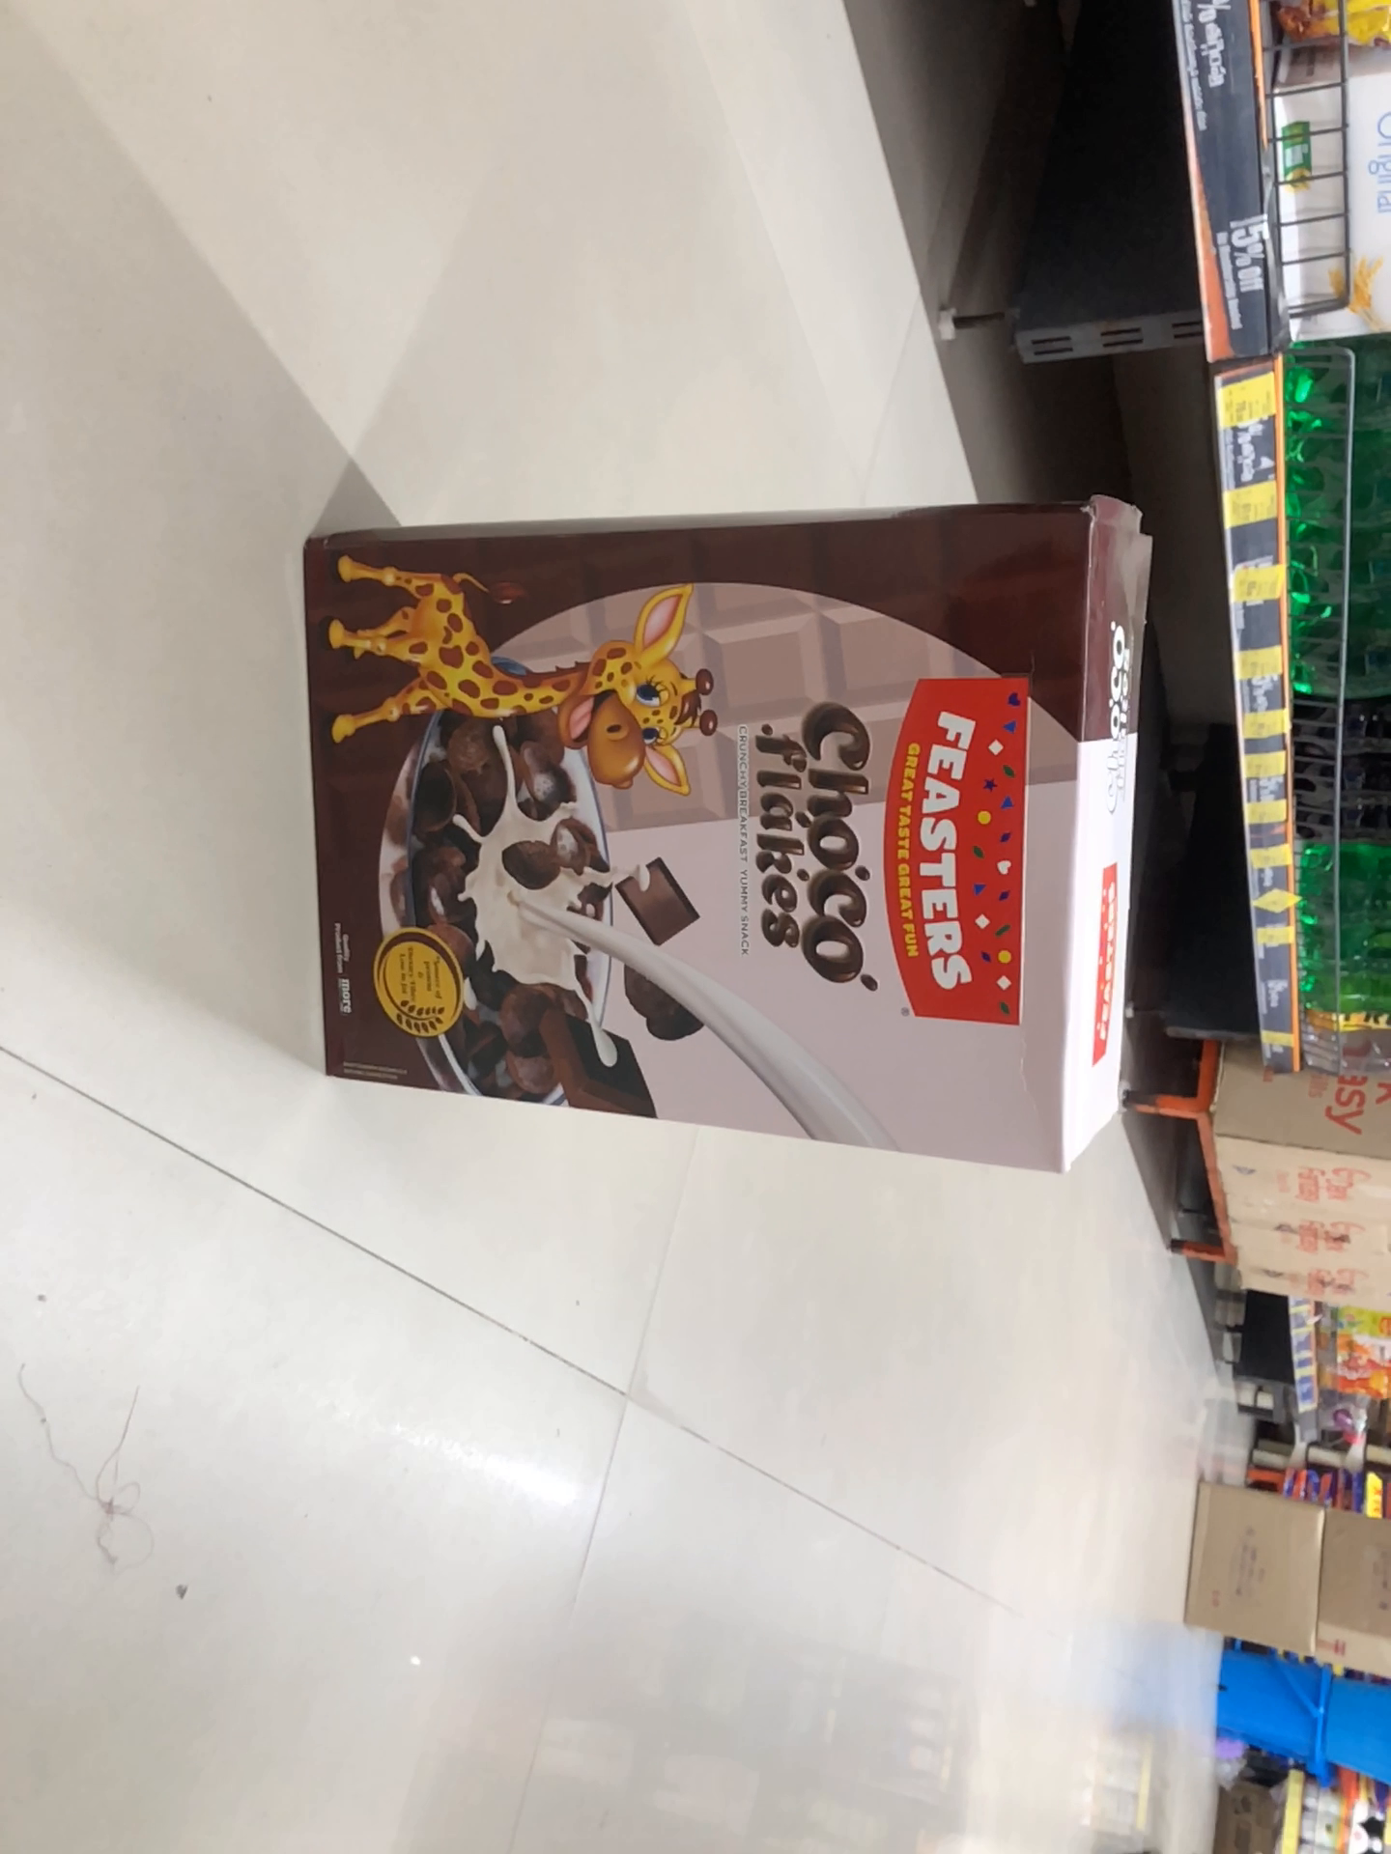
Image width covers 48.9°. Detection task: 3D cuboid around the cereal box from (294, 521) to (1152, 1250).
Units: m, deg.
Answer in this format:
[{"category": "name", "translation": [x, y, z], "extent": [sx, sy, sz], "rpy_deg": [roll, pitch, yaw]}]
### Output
[{"category": "cereal box", "translation": [0.001, -0.019, 0.492], "extent": [0.050, 0.268, 0.200], "rpy_deg": [-20, 112, -65]}]
